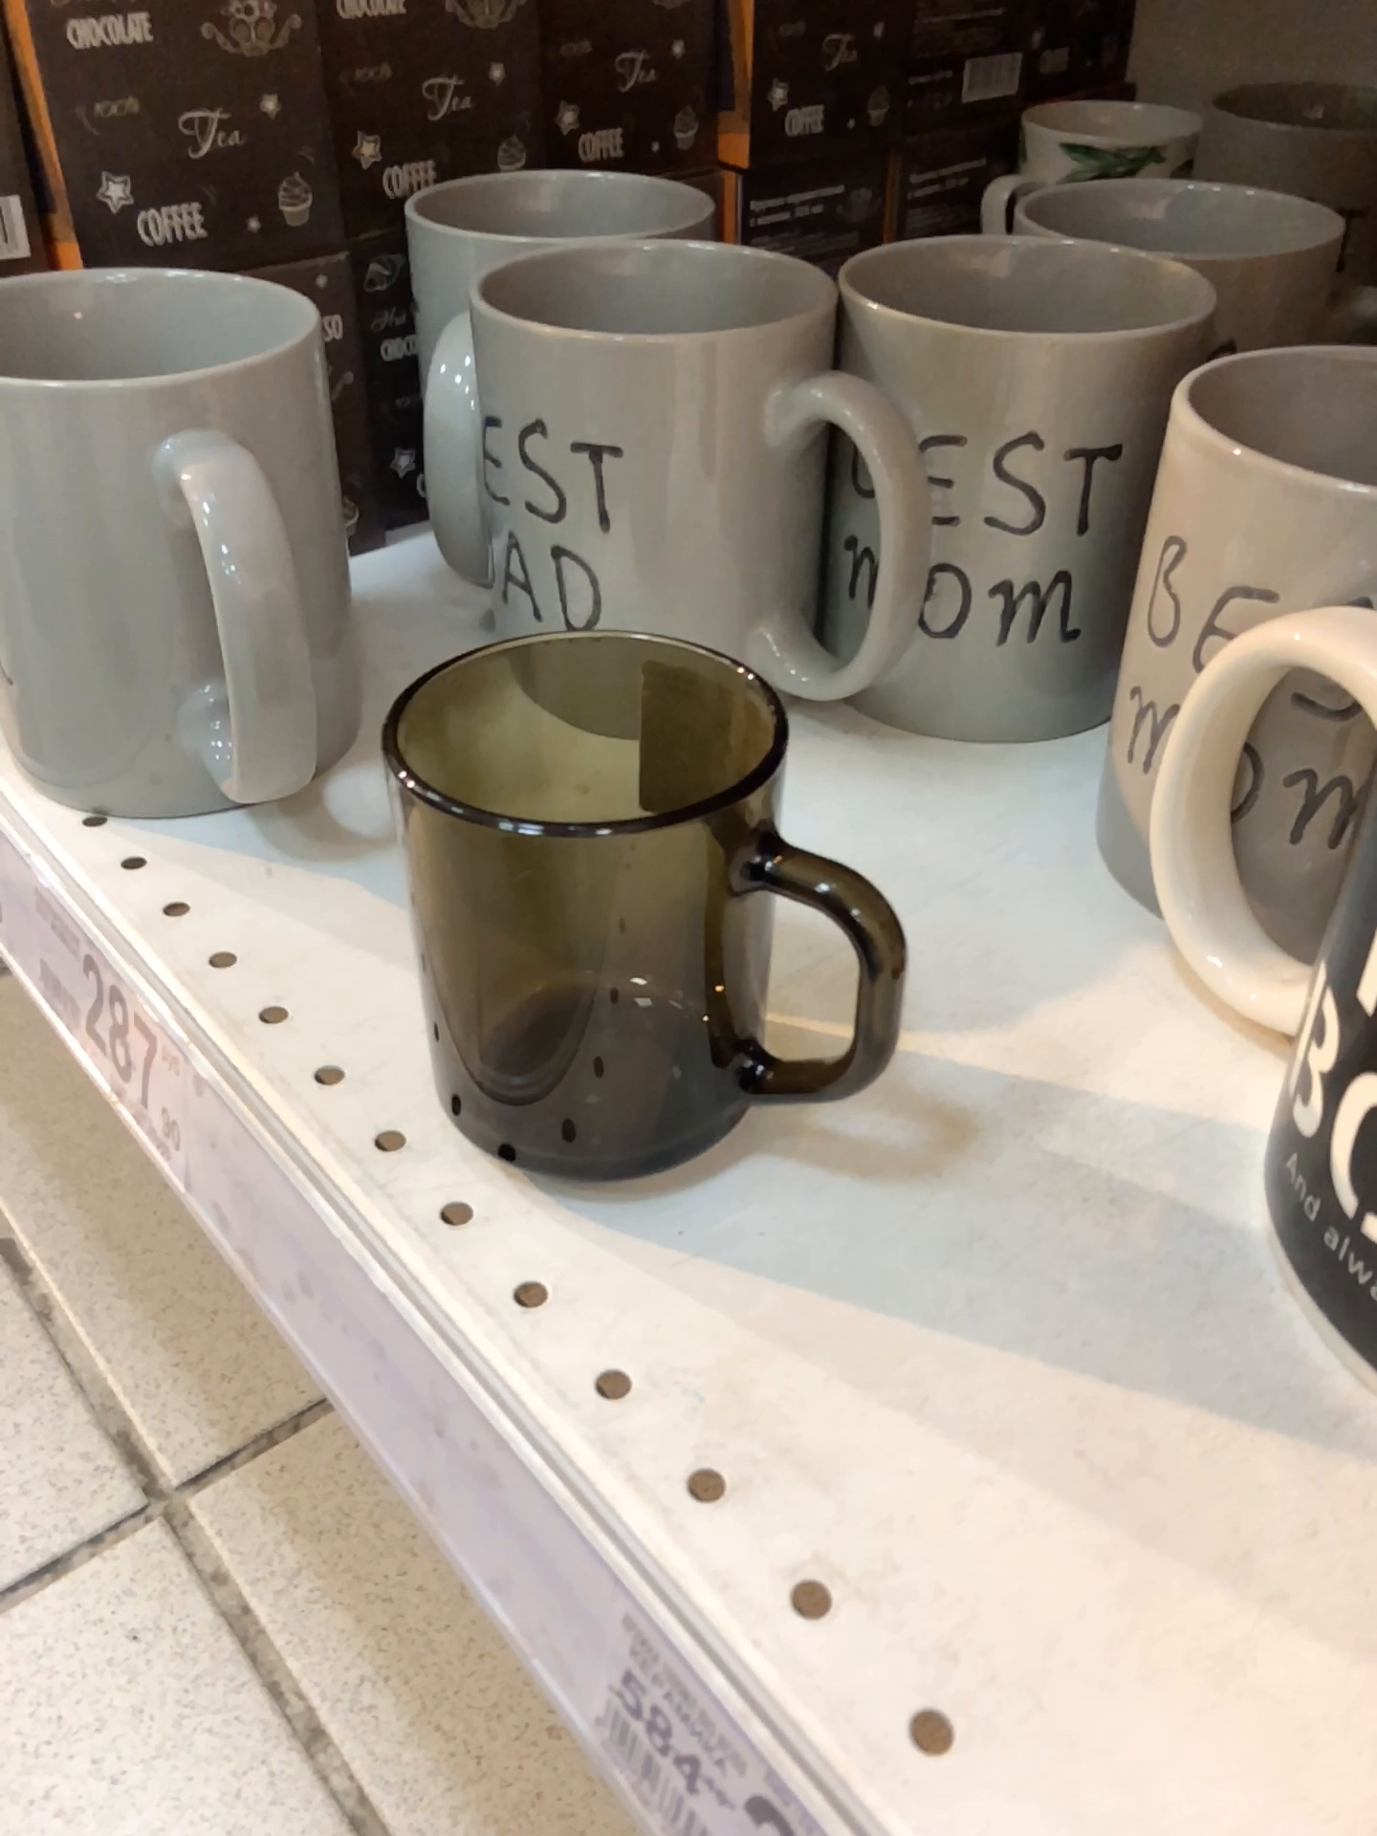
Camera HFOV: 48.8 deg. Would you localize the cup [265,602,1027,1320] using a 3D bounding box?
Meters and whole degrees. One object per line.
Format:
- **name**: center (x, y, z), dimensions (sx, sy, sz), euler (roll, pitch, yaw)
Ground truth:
- **cup**: center (-0.005, 0.002, 0.283), dimensions (0.105, 0.074, 0.082), euler (18, 39, 21)
